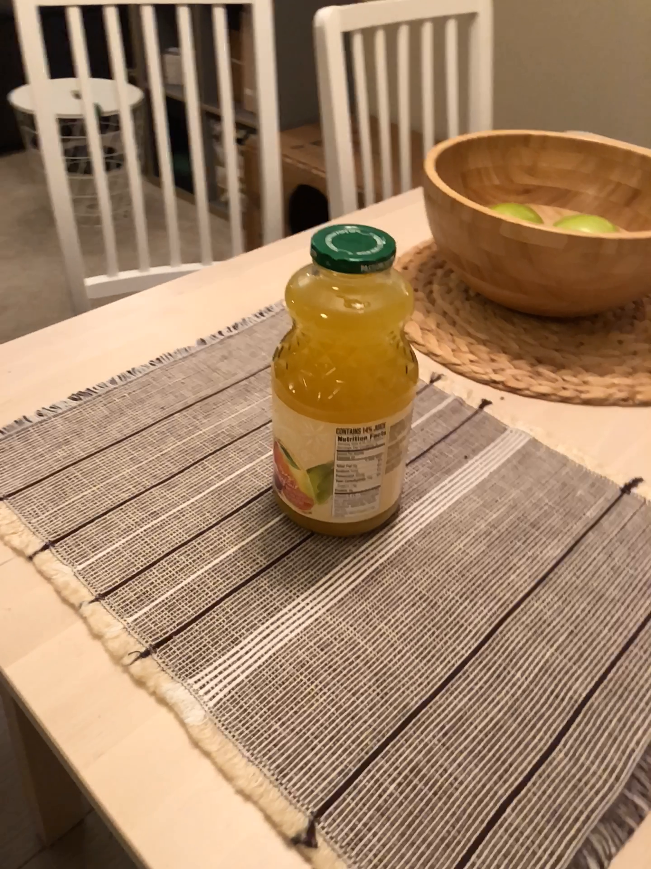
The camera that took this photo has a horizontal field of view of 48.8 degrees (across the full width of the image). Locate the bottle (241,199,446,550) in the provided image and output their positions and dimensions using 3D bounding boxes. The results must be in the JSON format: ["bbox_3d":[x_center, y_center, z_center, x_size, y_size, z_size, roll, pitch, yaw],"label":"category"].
[{"bbox_3d":[0.010,-0.035,0.465,0.100,0.189,0.101,2,39,-2],"label":"bottle"}]
